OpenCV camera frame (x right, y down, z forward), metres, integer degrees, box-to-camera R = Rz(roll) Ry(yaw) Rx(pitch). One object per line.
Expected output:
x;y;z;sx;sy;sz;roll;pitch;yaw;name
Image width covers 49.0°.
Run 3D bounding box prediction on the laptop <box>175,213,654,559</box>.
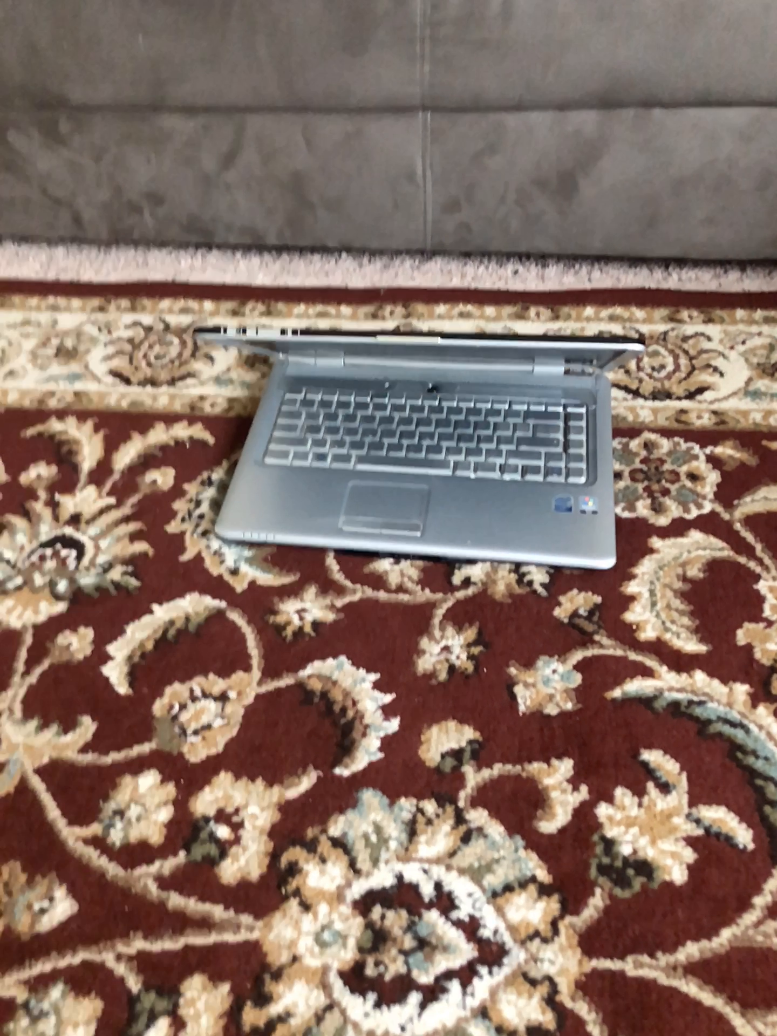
0.035;-0.124;0.743;0.342;0.164;0.244;4;48;8;laptop
